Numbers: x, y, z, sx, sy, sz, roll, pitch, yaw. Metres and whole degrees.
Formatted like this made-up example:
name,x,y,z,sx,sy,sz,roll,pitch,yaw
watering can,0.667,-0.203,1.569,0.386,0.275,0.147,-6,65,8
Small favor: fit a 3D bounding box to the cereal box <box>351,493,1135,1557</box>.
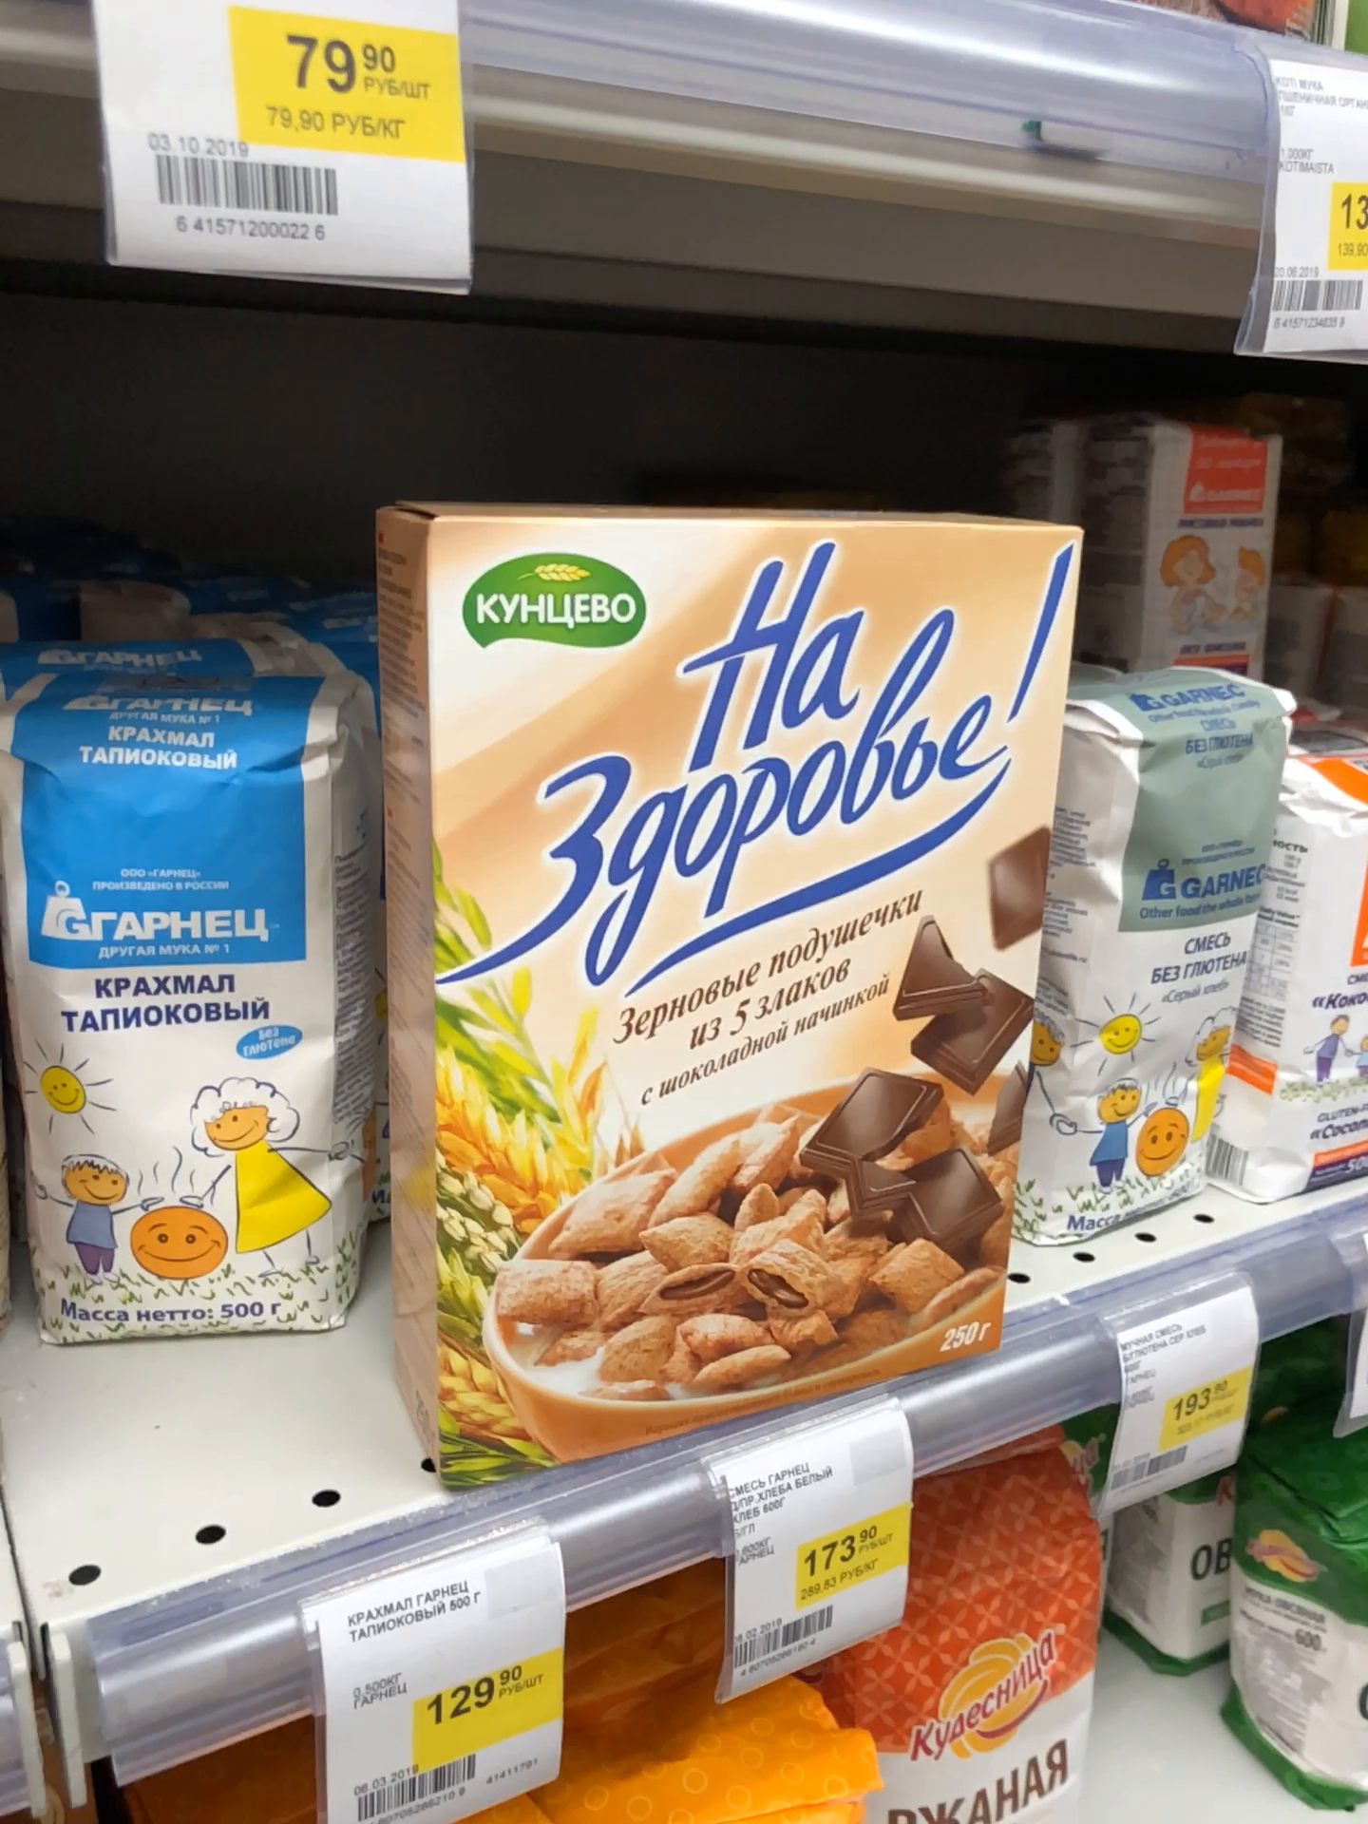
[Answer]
name,x,y,z,sx,sy,sz,roll,pitch,yaw
cereal box,0.012,0.019,0.350,0.160,0.219,0.050,-6,18,-24
